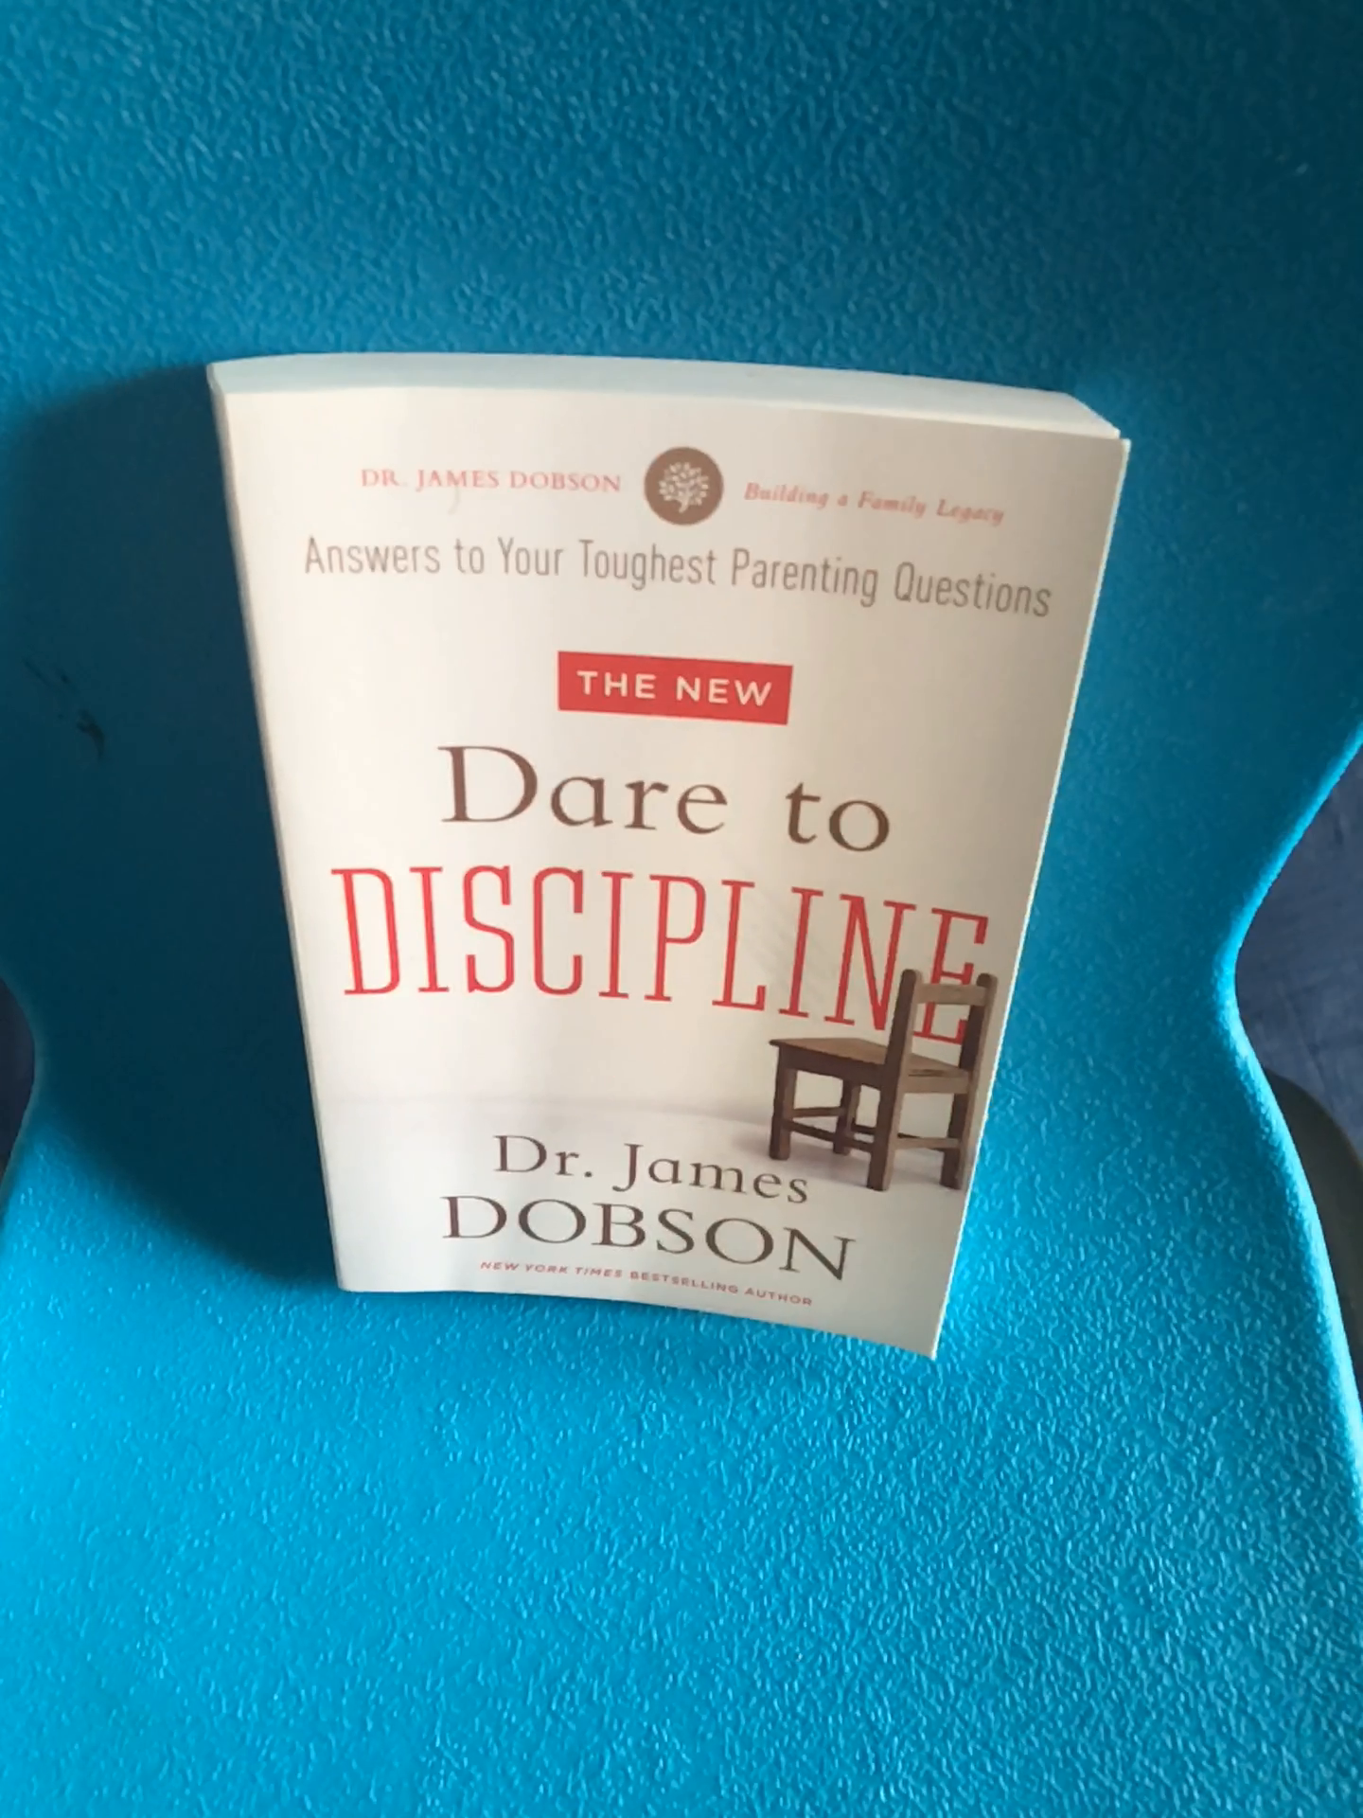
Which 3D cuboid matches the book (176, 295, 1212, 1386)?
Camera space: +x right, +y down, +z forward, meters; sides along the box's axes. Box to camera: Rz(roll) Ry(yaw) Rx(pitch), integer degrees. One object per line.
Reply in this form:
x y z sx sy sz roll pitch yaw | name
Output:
-0.003 -0.002 0.285 0.150 0.199 0.040 5 31 2 | book
